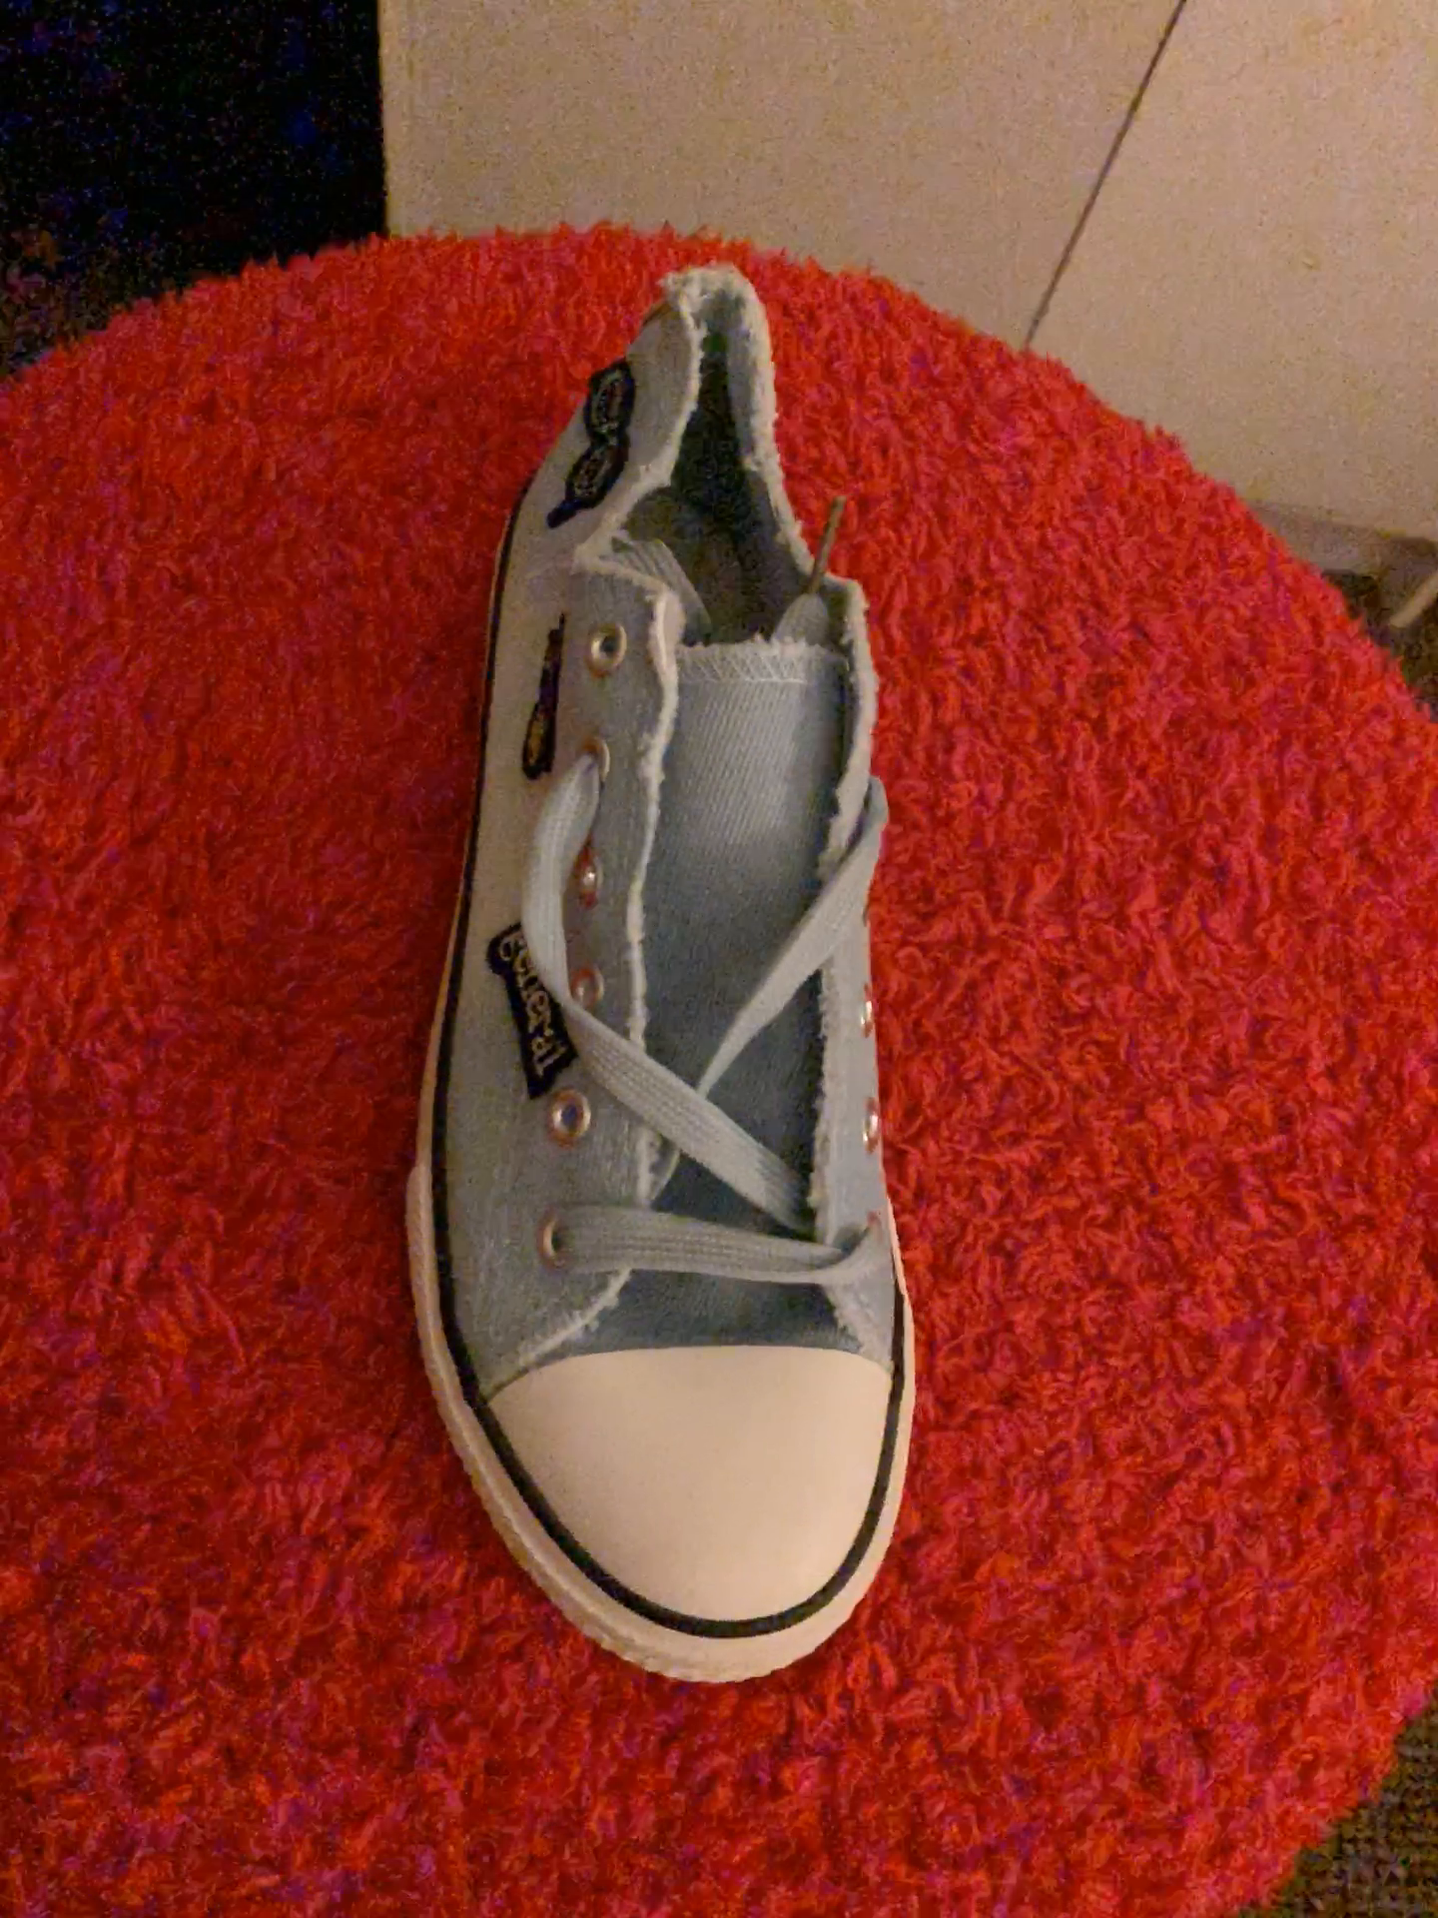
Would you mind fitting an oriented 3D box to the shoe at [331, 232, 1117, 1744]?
[{"bbox_3d":[-0.011,-0.004,0.272,0.097,0.087,0.251,1,65,-10],"label":"shoe"}]
